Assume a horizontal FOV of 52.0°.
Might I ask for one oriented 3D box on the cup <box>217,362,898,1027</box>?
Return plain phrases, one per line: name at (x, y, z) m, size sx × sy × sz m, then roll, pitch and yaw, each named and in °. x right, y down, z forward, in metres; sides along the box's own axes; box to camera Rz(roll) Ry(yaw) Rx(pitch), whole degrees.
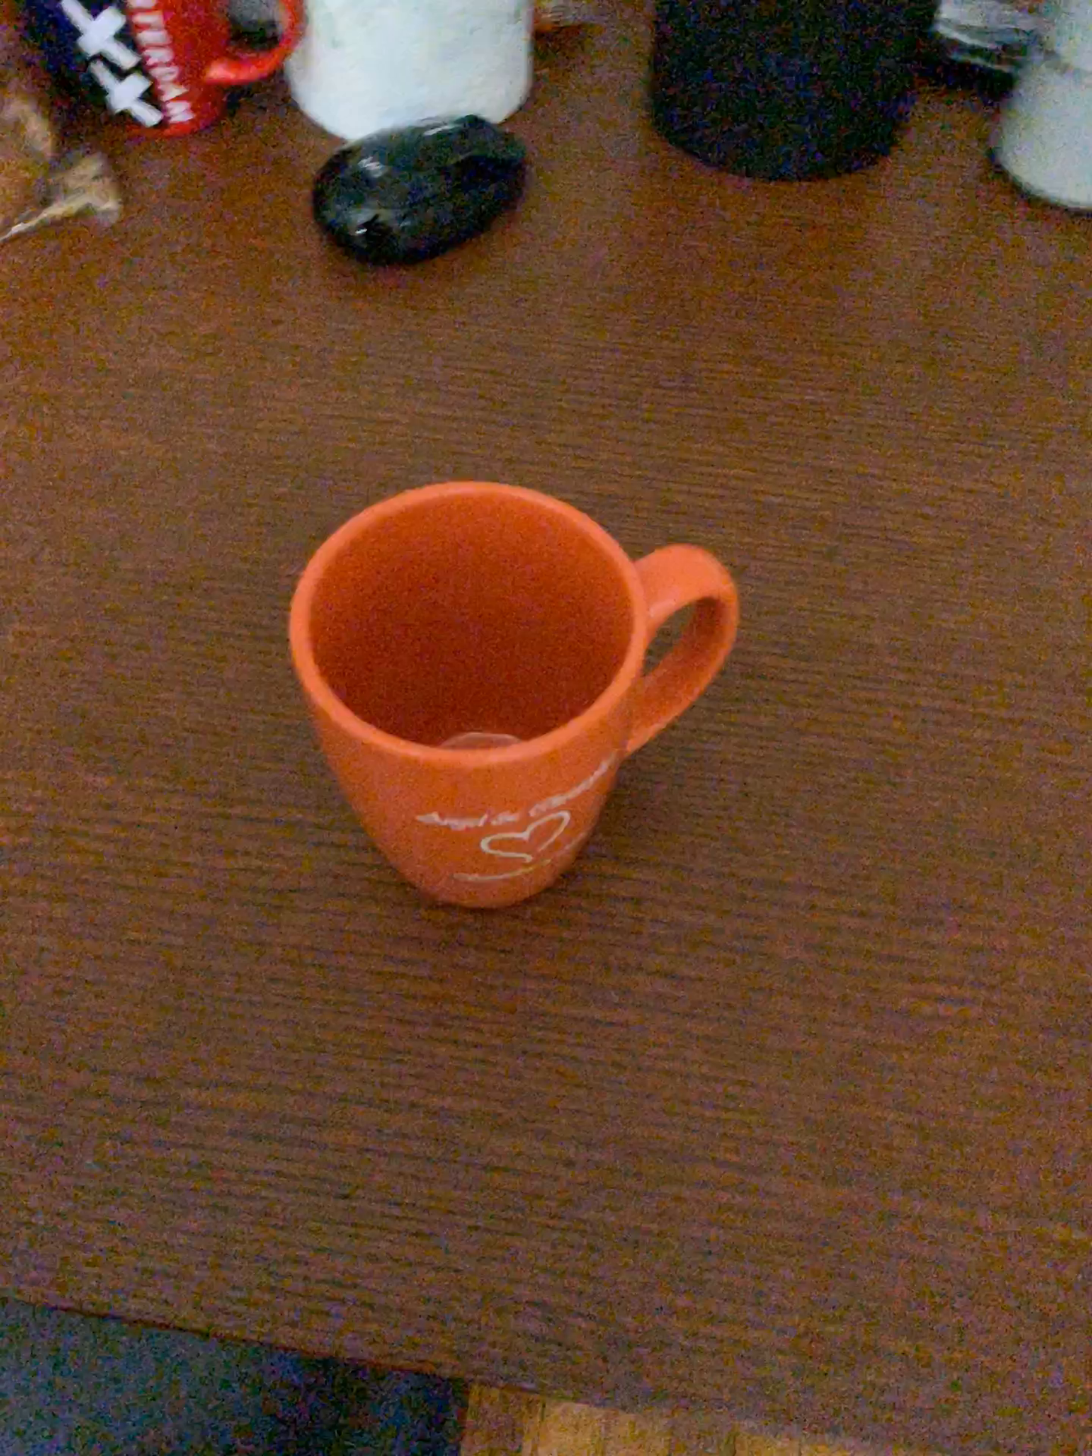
cup at (0.000, -0.008, 0.314) m, size 0.130 × 0.110 × 0.100 m, roll -26°, pitch 62°, yaw -16°
